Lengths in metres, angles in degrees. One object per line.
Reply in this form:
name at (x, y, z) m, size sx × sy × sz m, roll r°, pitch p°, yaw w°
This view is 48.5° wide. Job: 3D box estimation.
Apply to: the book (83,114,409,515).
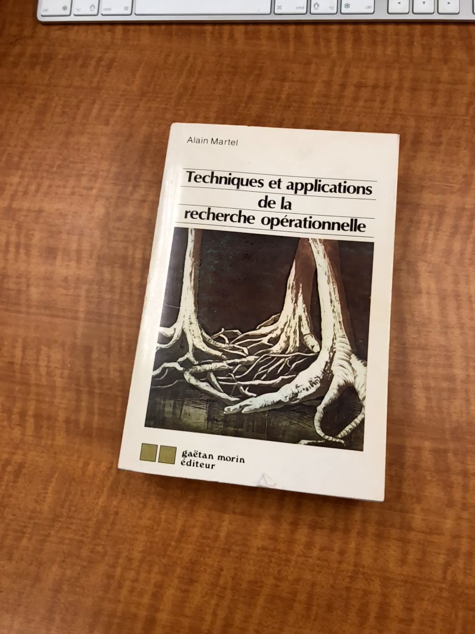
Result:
book at (0.013, -0.007, 0.347) m, size 0.170 × 0.070 × 0.230 m, roll 5°, pitch 77°, yaw 6°
